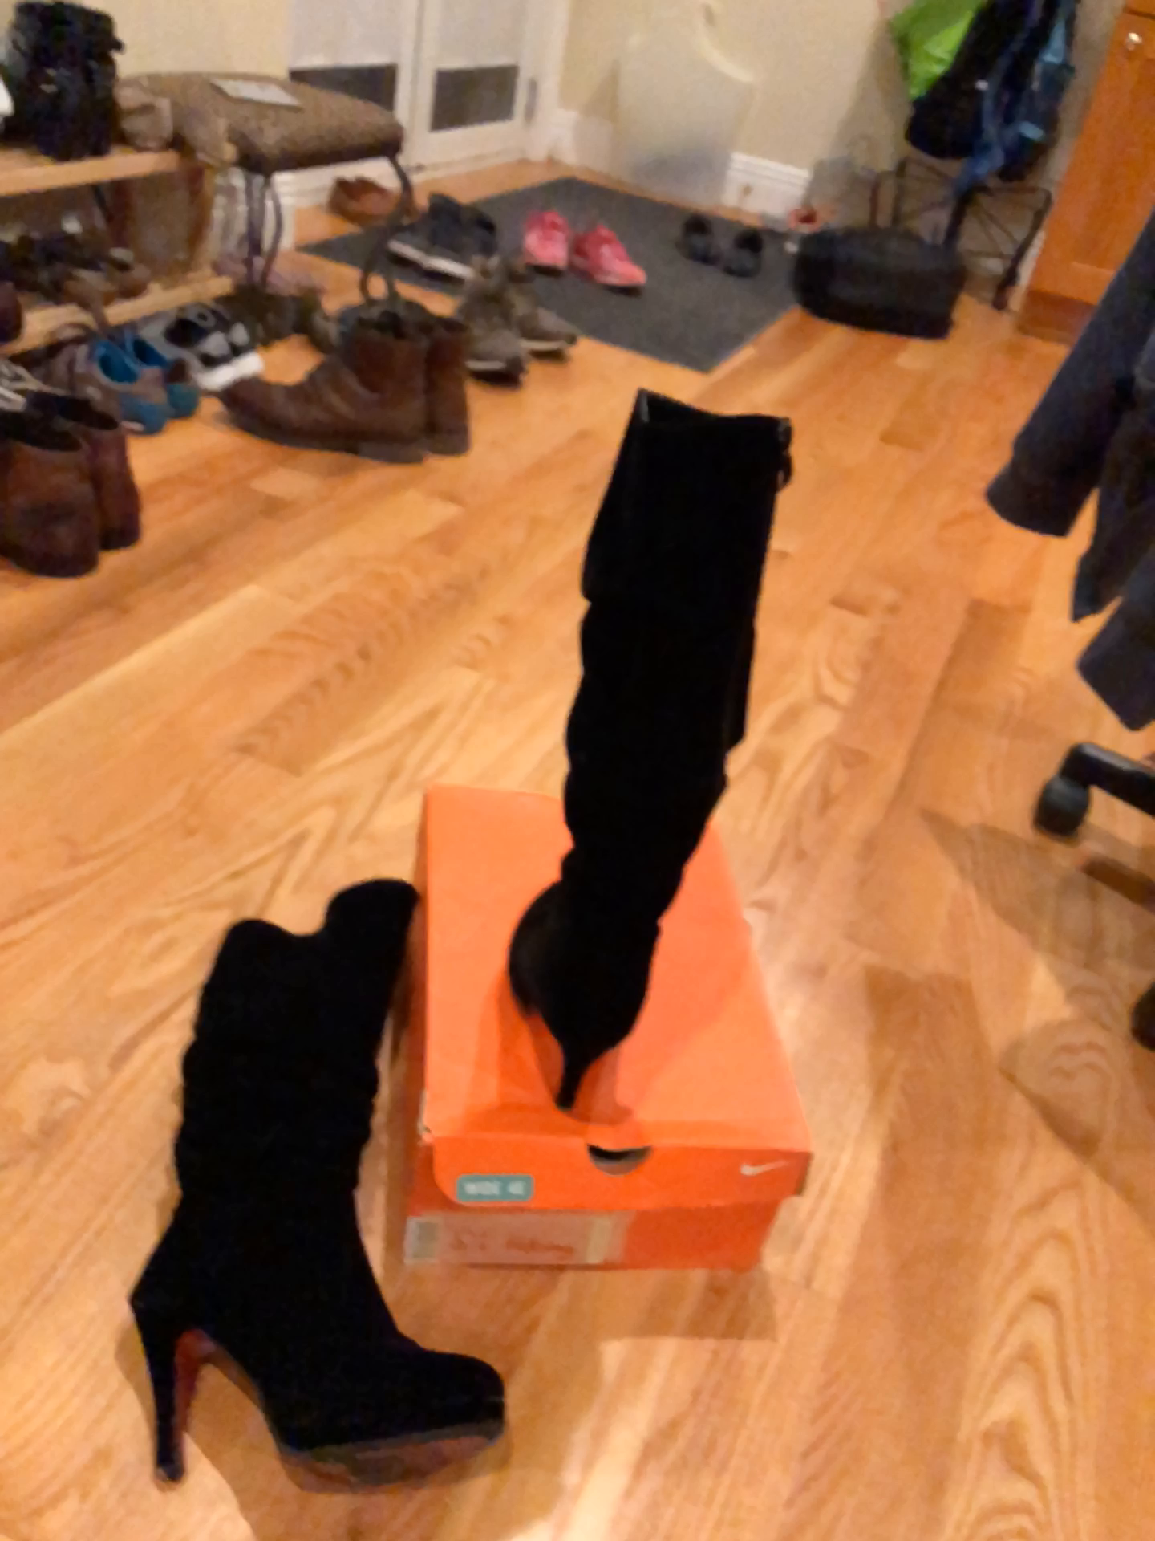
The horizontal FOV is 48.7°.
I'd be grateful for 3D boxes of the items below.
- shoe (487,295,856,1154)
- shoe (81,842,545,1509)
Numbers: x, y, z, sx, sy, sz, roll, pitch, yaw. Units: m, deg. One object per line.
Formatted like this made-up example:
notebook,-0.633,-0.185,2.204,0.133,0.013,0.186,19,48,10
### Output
shoe,0.027,-0.016,0.684,0.089,0.397,0.217,8,34,-7
shoe,-0.145,0.207,0.766,0.206,0.089,0.401,3,35,-10
